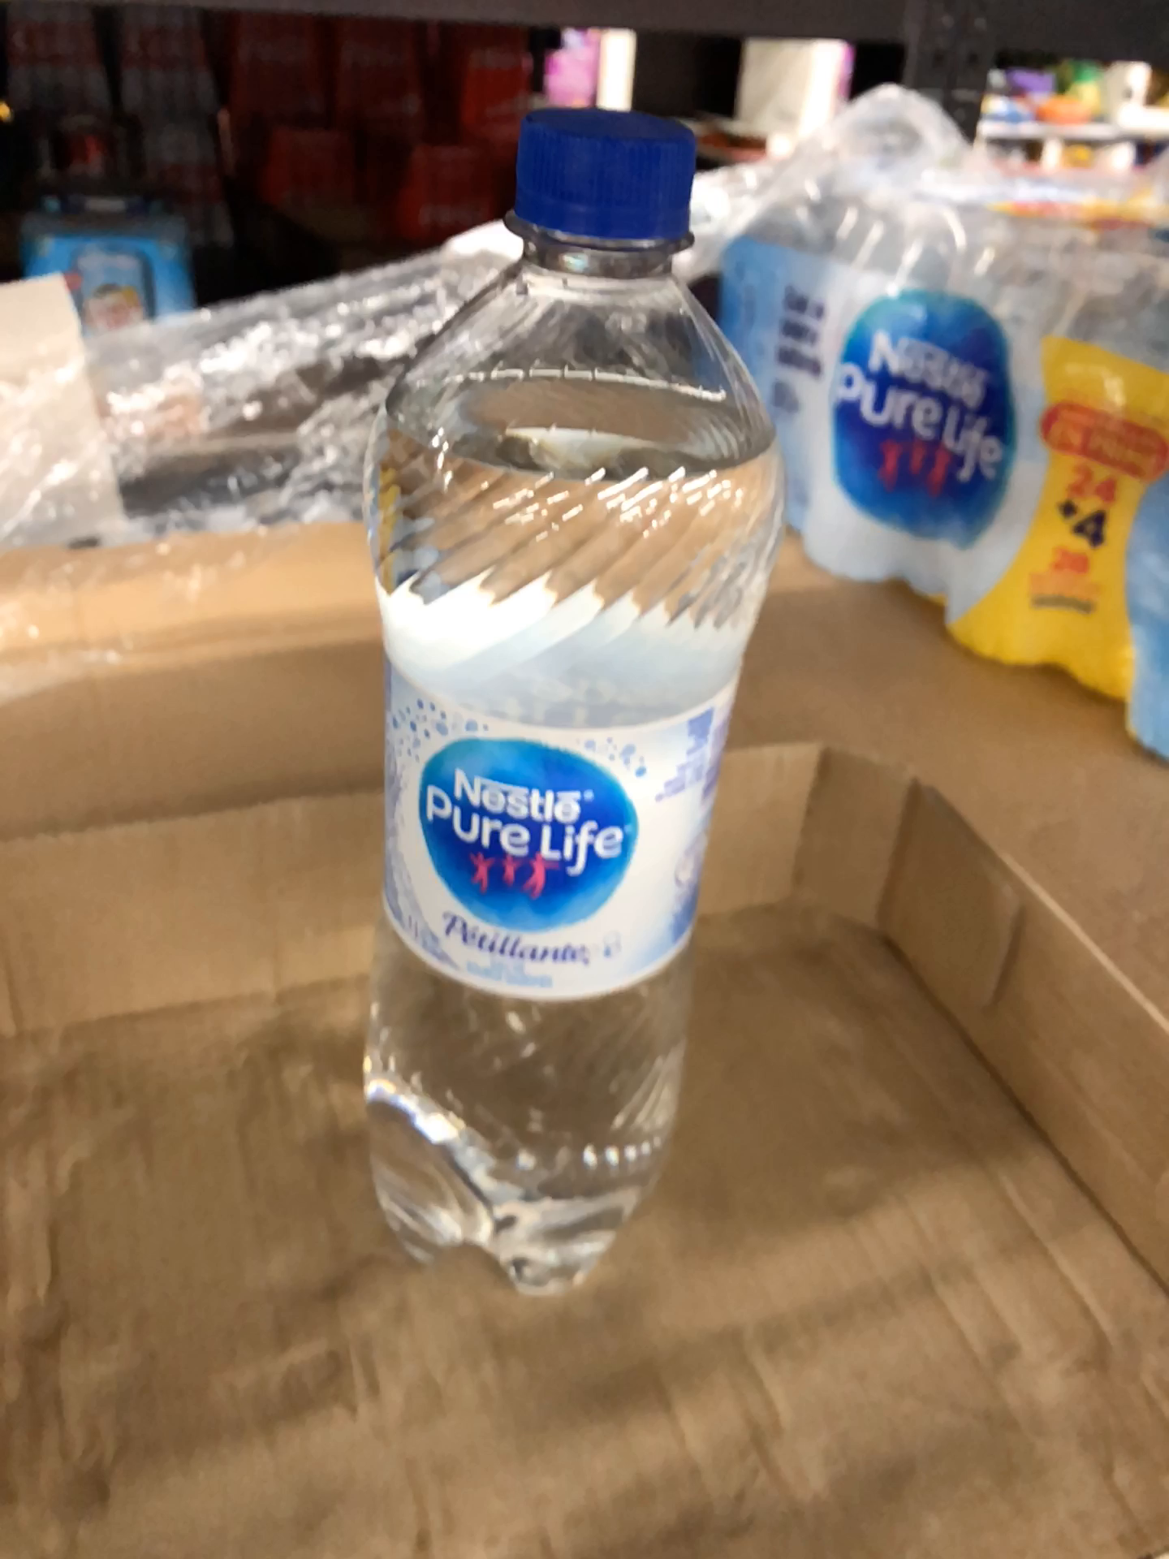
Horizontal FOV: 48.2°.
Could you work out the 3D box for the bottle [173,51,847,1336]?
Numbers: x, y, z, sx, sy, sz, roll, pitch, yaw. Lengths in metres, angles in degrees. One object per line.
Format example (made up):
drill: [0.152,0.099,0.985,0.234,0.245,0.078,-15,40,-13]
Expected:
bottle: [-0.015,-0.009,0.313,0.100,0.278,0.101,4,32,-2]
